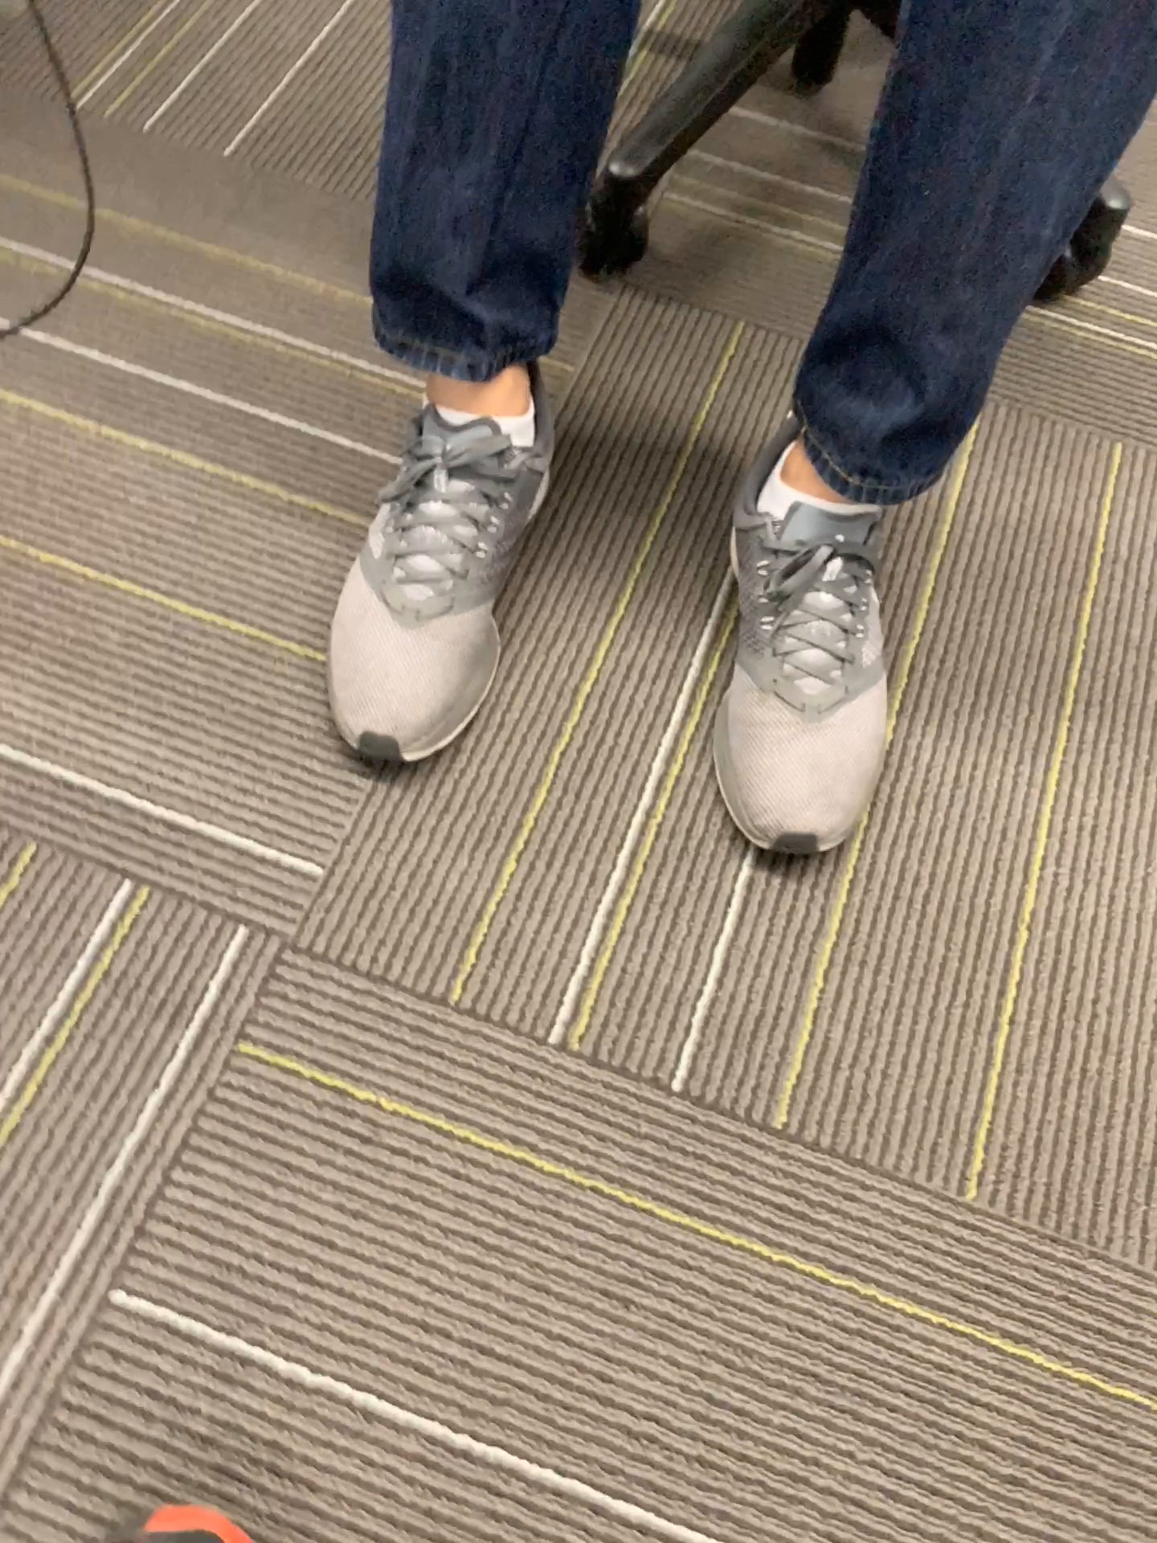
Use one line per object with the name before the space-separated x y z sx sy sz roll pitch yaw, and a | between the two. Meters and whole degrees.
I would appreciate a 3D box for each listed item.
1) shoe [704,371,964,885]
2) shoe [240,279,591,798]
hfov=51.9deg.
shoe | 0.157 -0.093 0.752 0.120 0.123 0.291 7 64 -1
shoe | -0.091 -0.151 0.757 0.120 0.123 0.291 15 64 4
